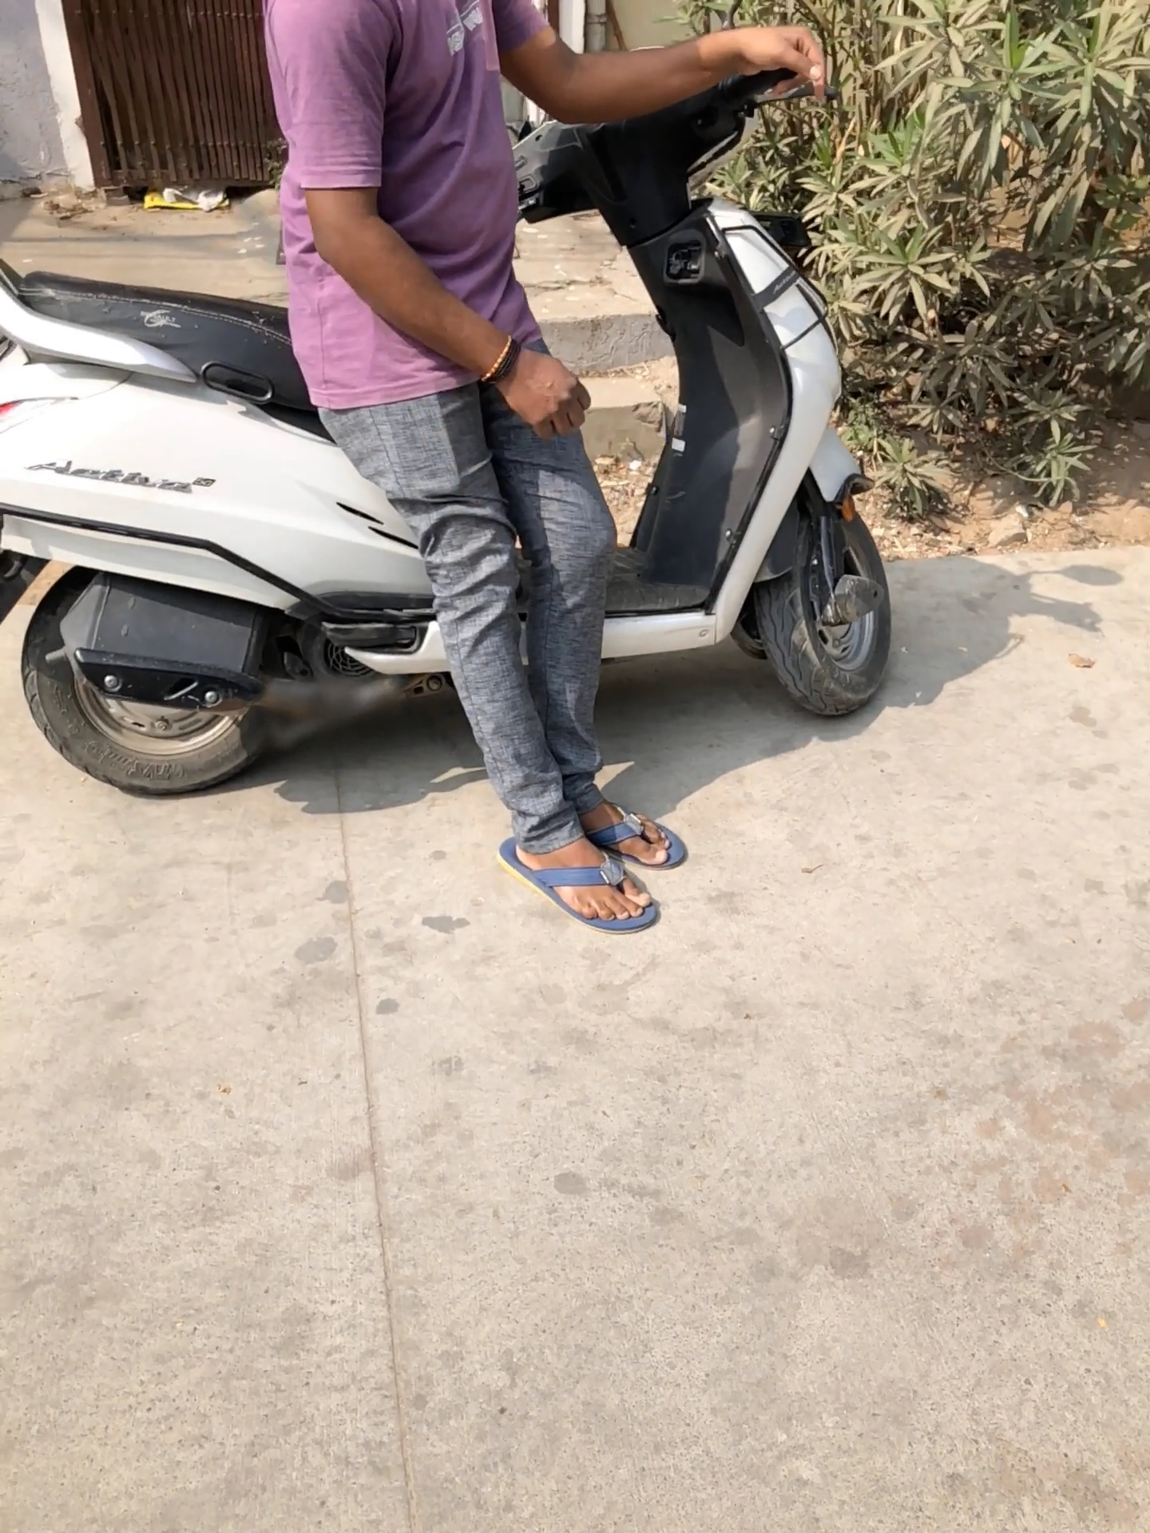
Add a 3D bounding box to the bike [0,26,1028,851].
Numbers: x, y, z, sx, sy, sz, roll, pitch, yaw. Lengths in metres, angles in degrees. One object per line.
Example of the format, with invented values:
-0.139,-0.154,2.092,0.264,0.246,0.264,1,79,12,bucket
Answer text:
-0.162,-0.613,2.120,1.524,1.007,0.650,-12,39,-18,bike
